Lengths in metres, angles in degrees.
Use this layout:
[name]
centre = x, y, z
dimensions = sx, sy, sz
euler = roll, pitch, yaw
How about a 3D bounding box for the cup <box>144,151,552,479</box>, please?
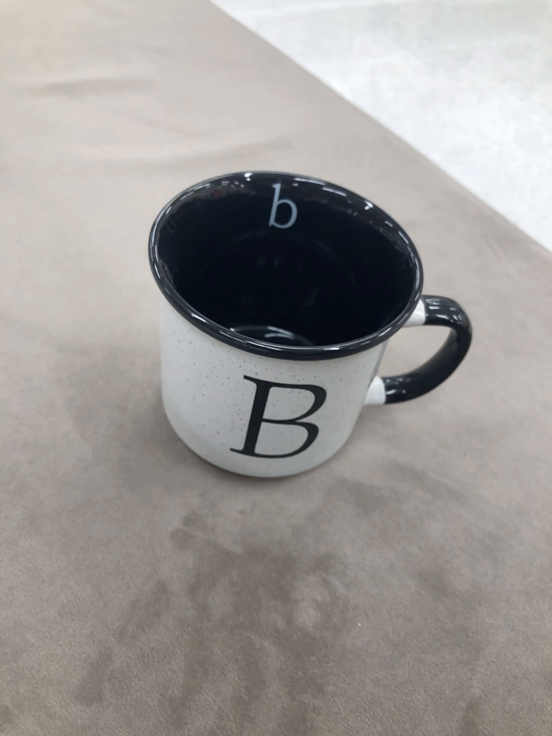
[cup]
centre = 0.025, -0.020, 0.267
dimensions = 0.150, 0.089, 0.101
euler = 2, 49, -8
